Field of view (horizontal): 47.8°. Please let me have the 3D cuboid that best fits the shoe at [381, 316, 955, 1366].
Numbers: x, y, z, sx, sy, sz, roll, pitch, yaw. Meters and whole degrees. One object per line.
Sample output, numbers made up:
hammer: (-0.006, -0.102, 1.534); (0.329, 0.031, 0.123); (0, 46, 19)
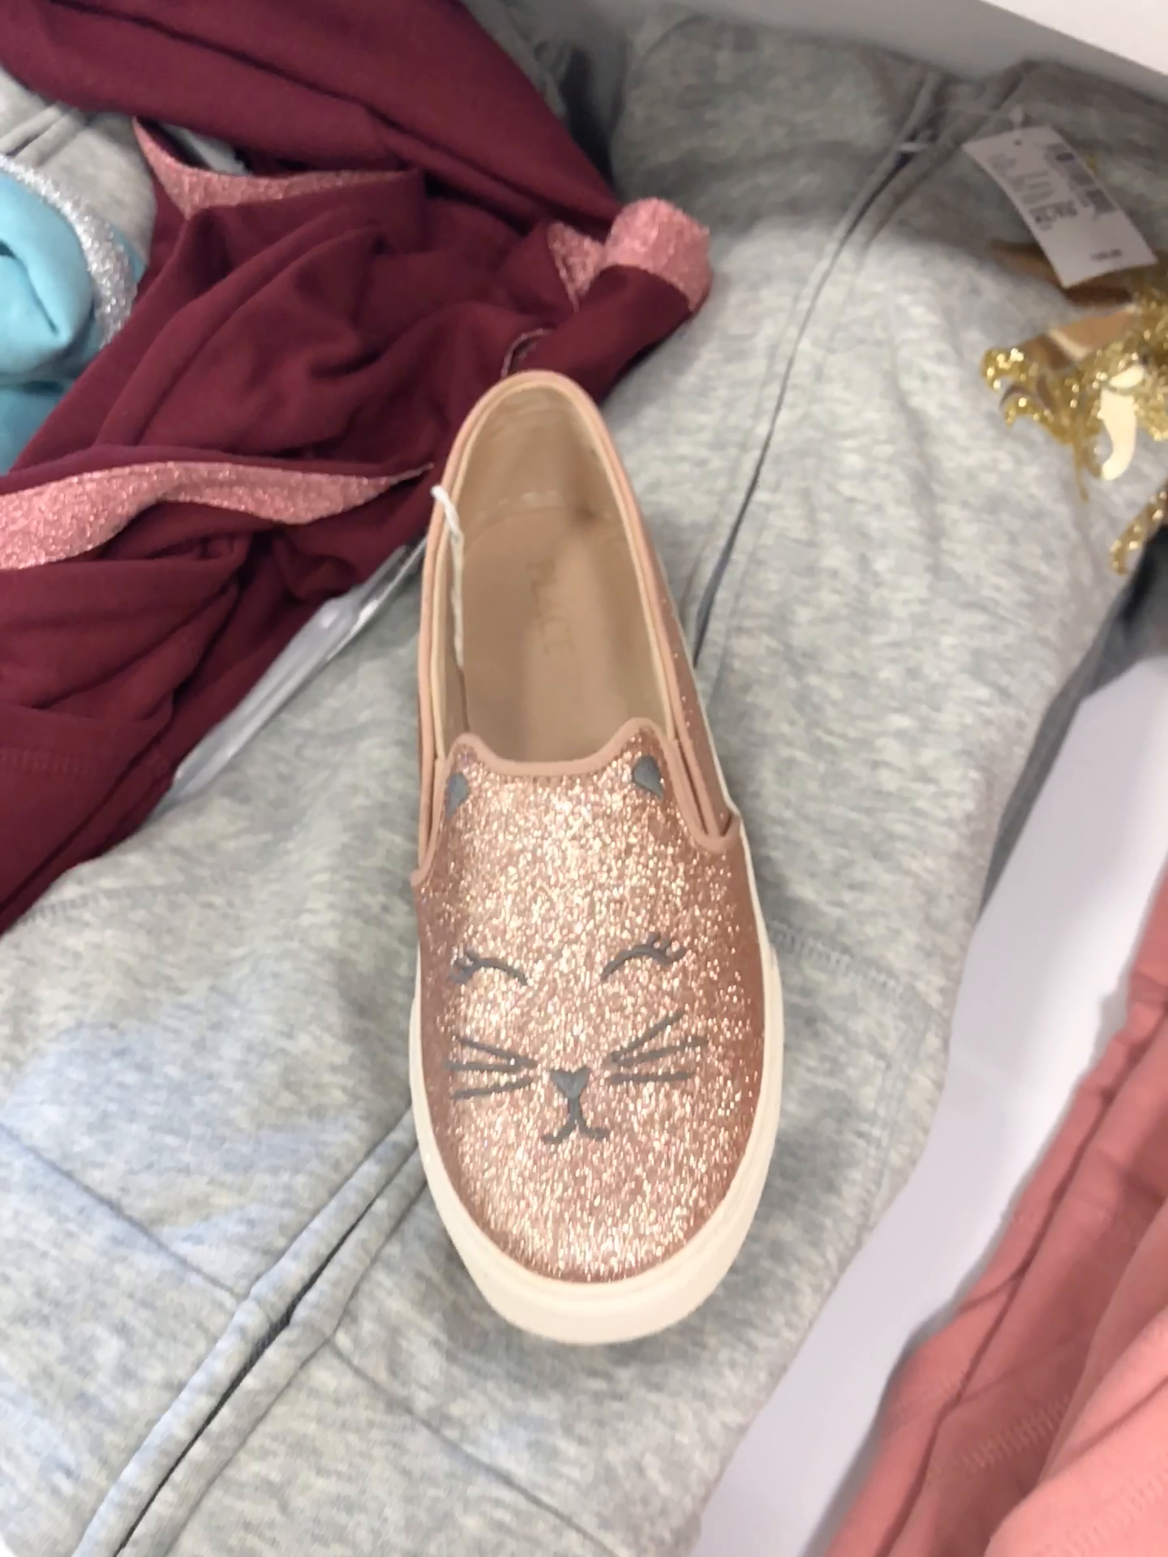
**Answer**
shoe: (0.006, 0.005, 0.295); (0.090, 0.080, 0.220); (-1, 60, -4)
